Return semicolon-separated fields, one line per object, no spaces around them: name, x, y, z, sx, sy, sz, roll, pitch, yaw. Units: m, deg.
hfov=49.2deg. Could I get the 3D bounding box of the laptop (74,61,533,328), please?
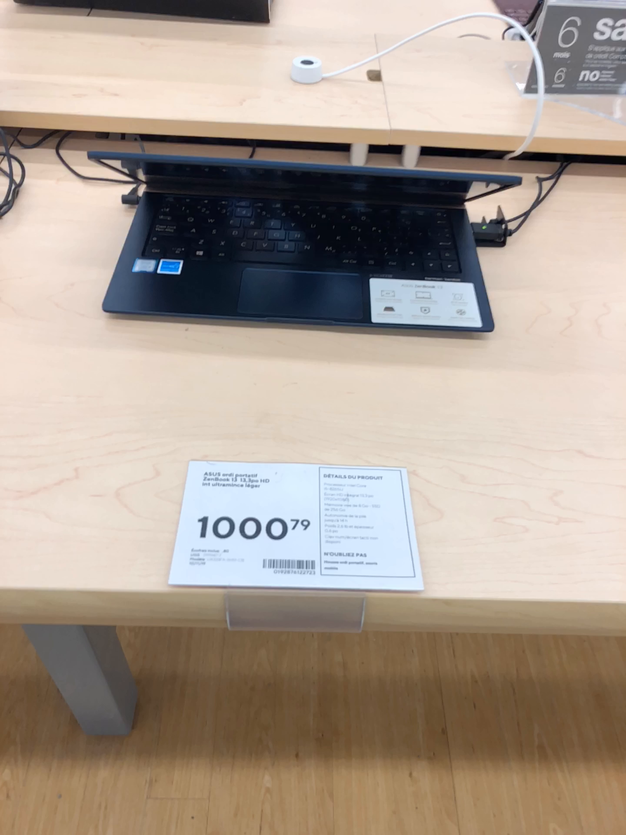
laptop;-0.006;-0.184;0.552;0.299;0.107;0.197;3;47;-2
